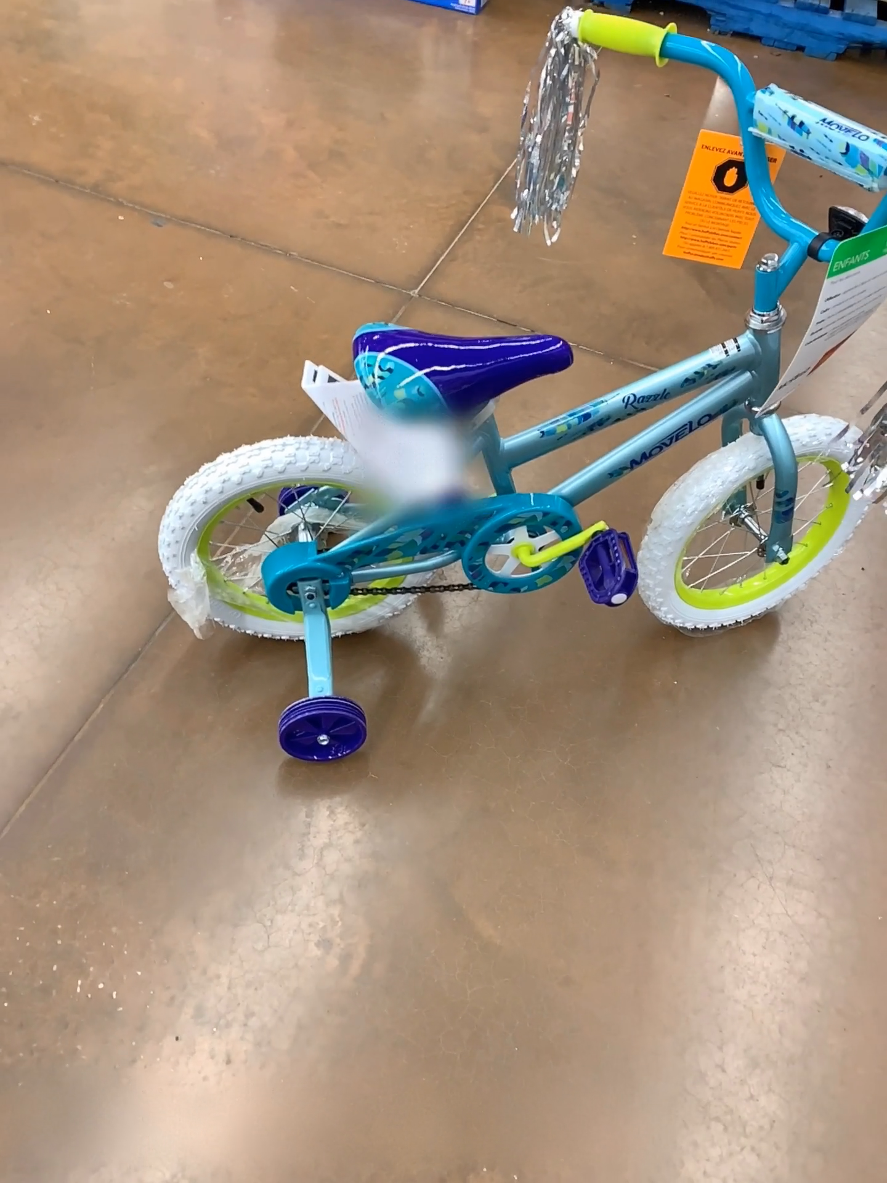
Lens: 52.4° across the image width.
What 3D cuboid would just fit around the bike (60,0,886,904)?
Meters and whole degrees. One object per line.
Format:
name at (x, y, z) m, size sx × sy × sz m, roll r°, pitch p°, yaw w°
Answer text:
bike at (0.144, -0.176, 0.934) m, size 0.859 × 0.639 × 0.625 m, roll -8°, pitch 52°, yaw -13°
